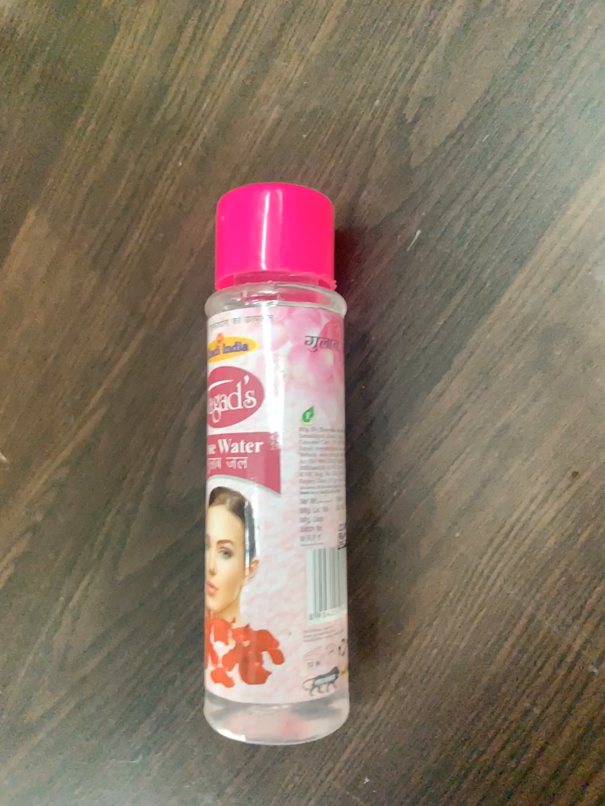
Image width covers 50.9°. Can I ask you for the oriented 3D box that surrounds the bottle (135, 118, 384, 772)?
[{"bbox_3d":[-0.012,0.009,0.167,0.050,0.040,0.140,-2,87,37],"label":"bottle"}]
